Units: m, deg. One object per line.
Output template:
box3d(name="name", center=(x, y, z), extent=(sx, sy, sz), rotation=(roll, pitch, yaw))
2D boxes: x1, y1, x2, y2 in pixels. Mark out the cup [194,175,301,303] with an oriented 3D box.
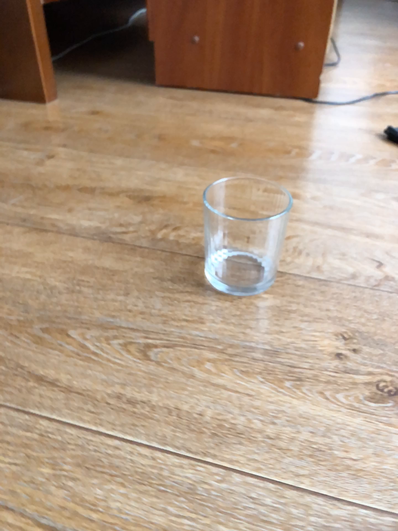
box3d(name="cup", center=(0.037, -0.025, 0.388), extent=(0.075, 0.079, 0.078), rotation=(1, 37, 0))
